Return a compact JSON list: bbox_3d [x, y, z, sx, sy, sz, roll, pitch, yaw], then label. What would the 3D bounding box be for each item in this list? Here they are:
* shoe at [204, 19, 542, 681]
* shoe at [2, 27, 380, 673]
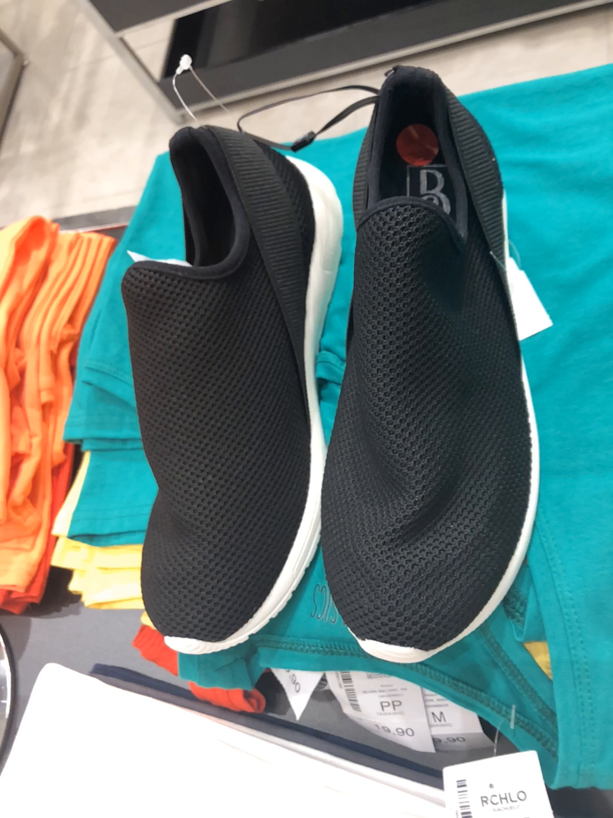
[{"bbox_3d":[0.046,-0.018,0.297,0.090,0.120,0.240,-2,68,25],"label":"shoe"},{"bbox_3d":[-0.036,-0.020,0.327,0.090,0.120,0.260,-2,71,25],"label":"shoe"}]
